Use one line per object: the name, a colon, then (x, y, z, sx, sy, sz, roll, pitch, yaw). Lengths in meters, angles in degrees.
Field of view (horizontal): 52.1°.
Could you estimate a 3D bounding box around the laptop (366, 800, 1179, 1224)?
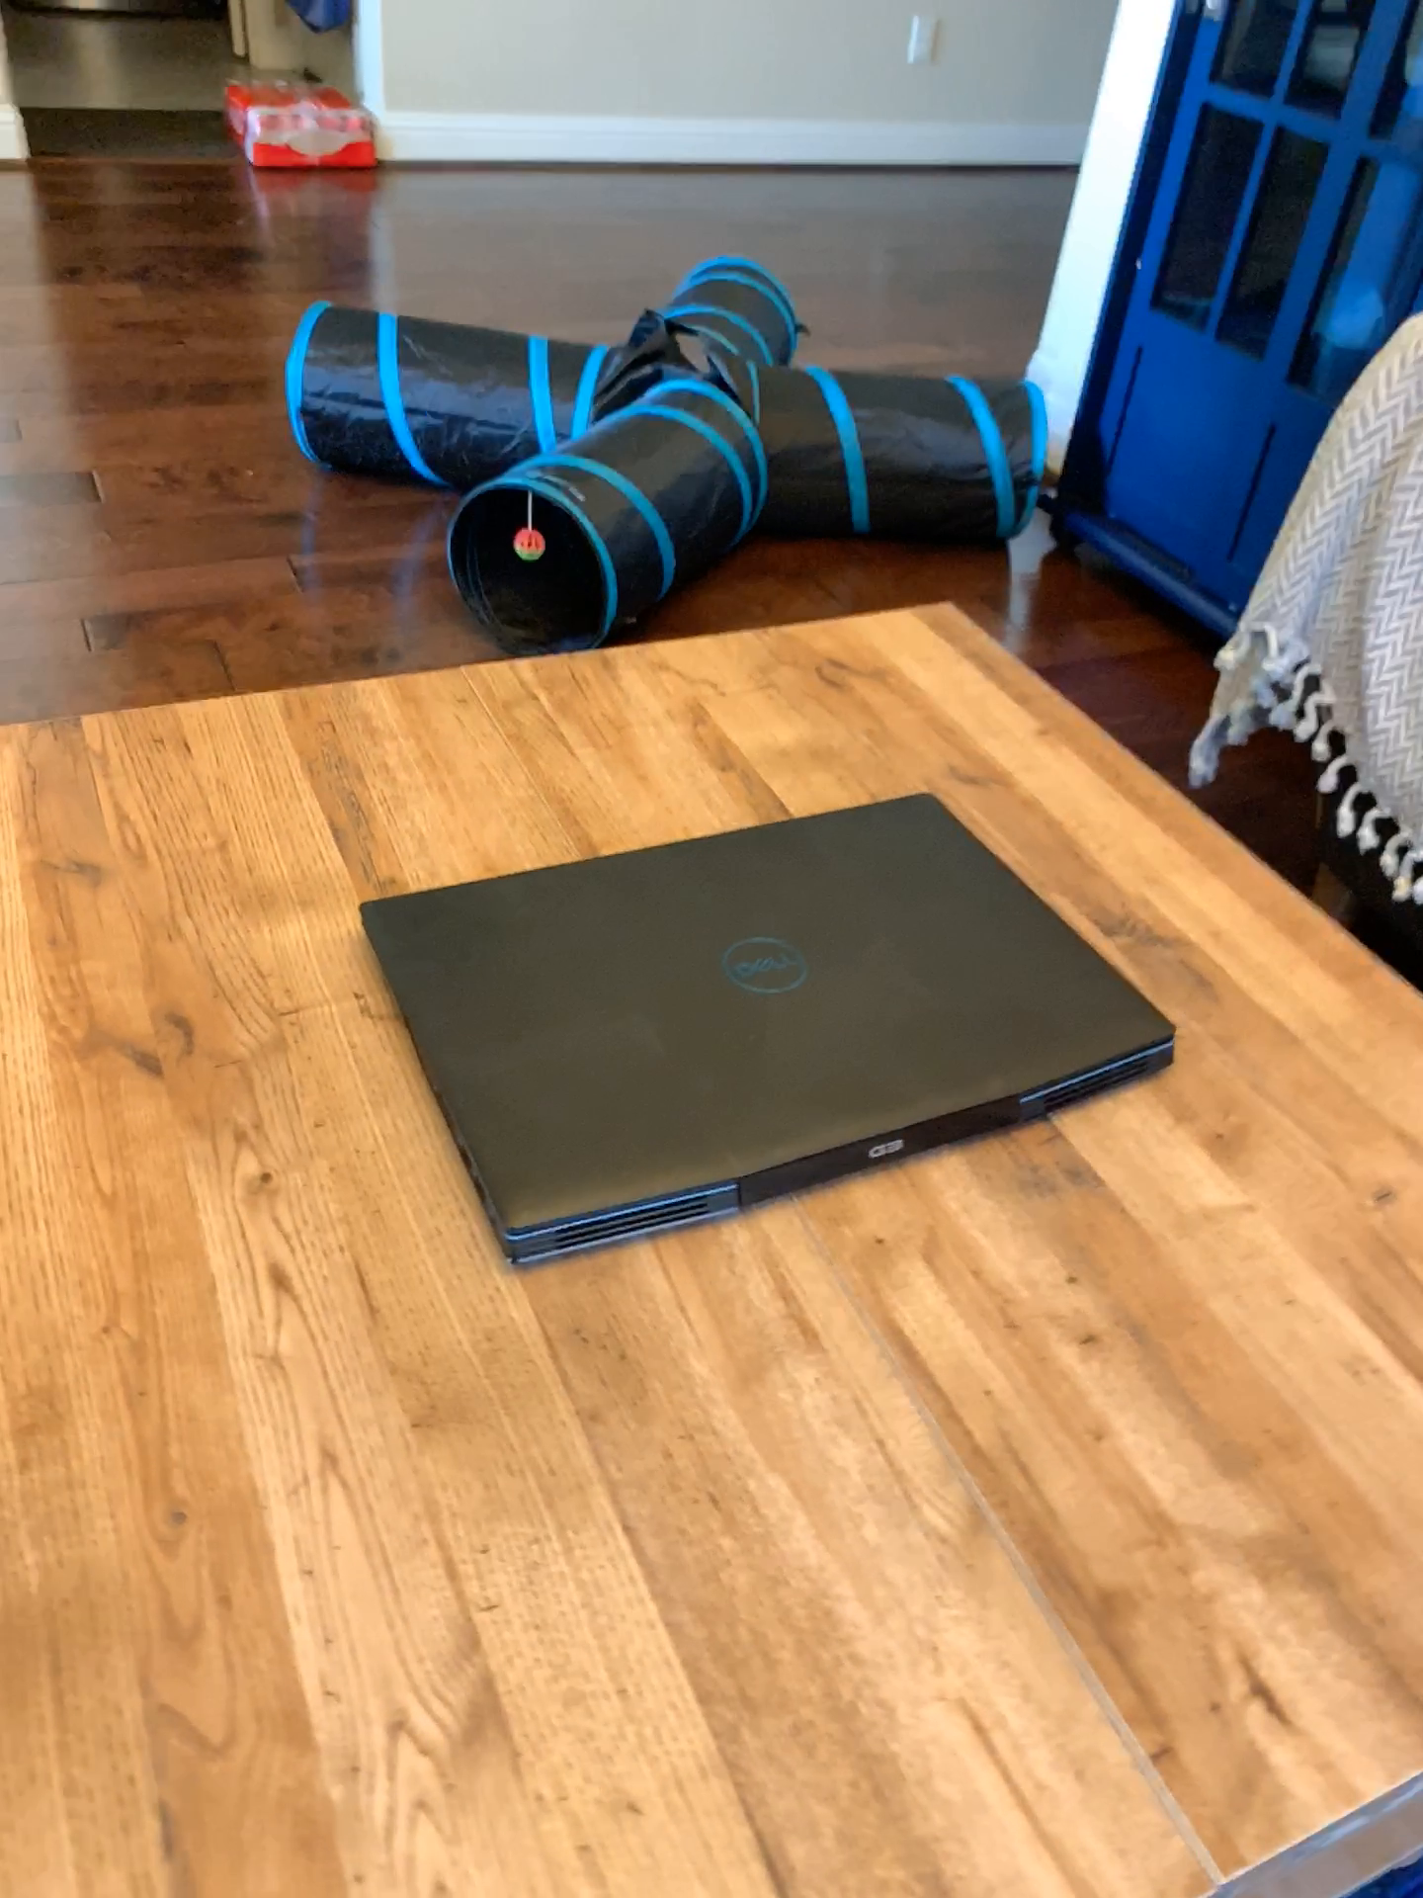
laptop: (0.027, 0.011, 0.741, 0.346, 0.001, 0.228, -13, 42, -22)
